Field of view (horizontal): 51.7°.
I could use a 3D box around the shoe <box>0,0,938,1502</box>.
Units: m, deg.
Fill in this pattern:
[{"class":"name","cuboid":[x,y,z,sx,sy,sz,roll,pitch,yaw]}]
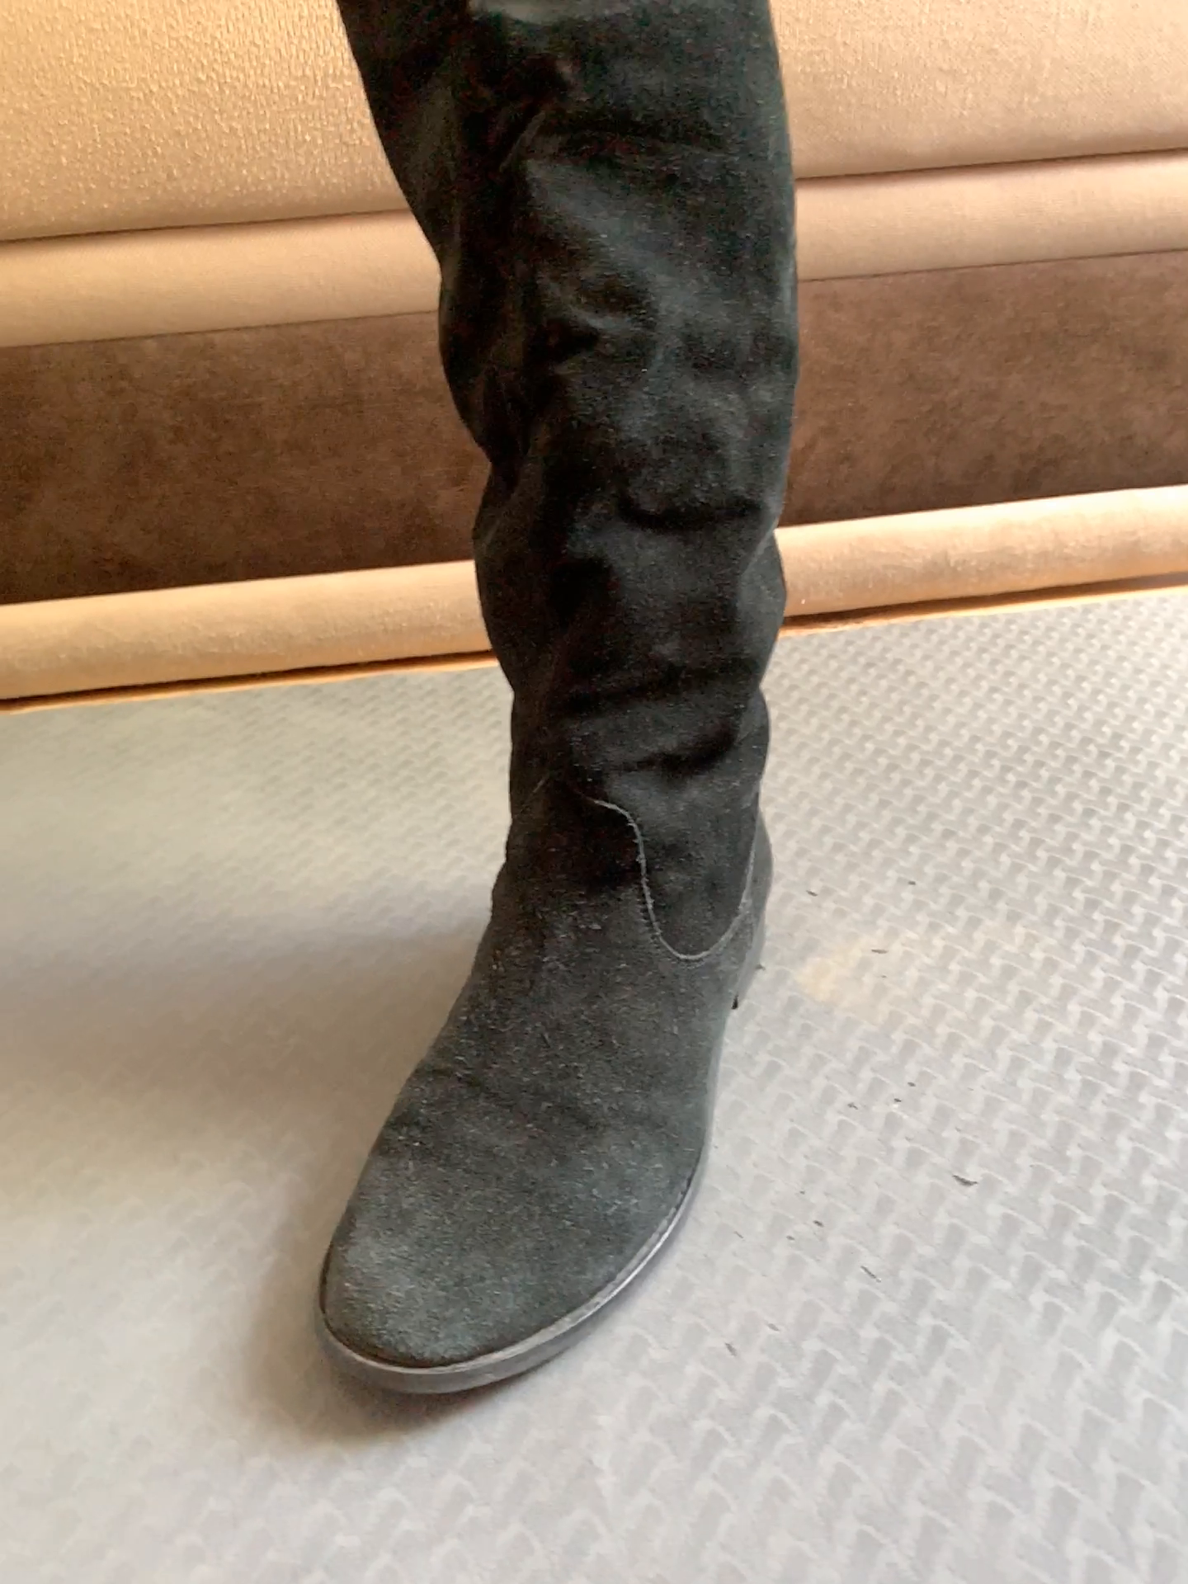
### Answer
[{"class":"shoe","cuboid":[-0.008,-0.092,0.339,0.130,0.378,0.321,7,29,23]}]
